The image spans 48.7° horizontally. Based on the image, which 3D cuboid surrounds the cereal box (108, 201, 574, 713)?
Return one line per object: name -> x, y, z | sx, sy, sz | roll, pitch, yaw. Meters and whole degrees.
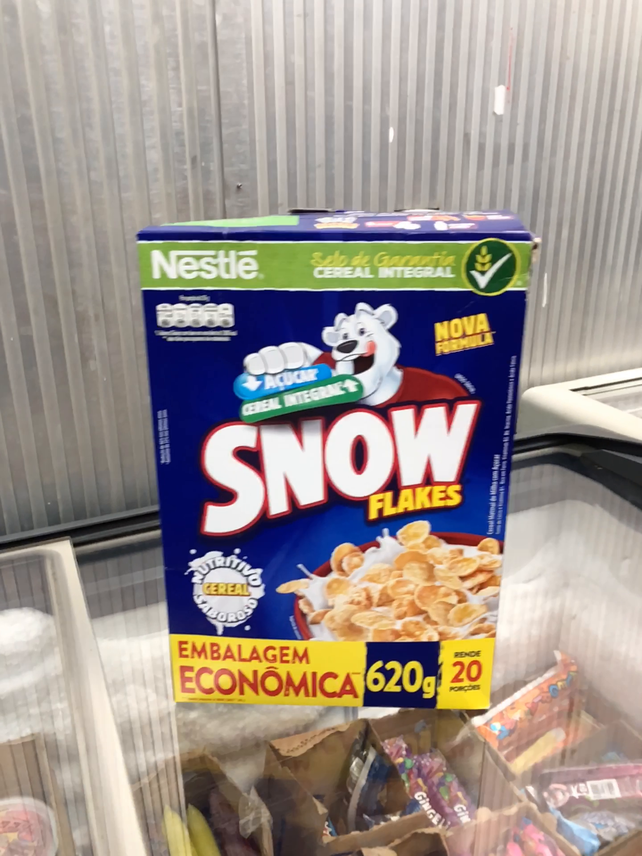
cereal box -> 0.011, 0.025, 0.437 | 0.230, 0.308, 0.070 | 0, 20, 2
